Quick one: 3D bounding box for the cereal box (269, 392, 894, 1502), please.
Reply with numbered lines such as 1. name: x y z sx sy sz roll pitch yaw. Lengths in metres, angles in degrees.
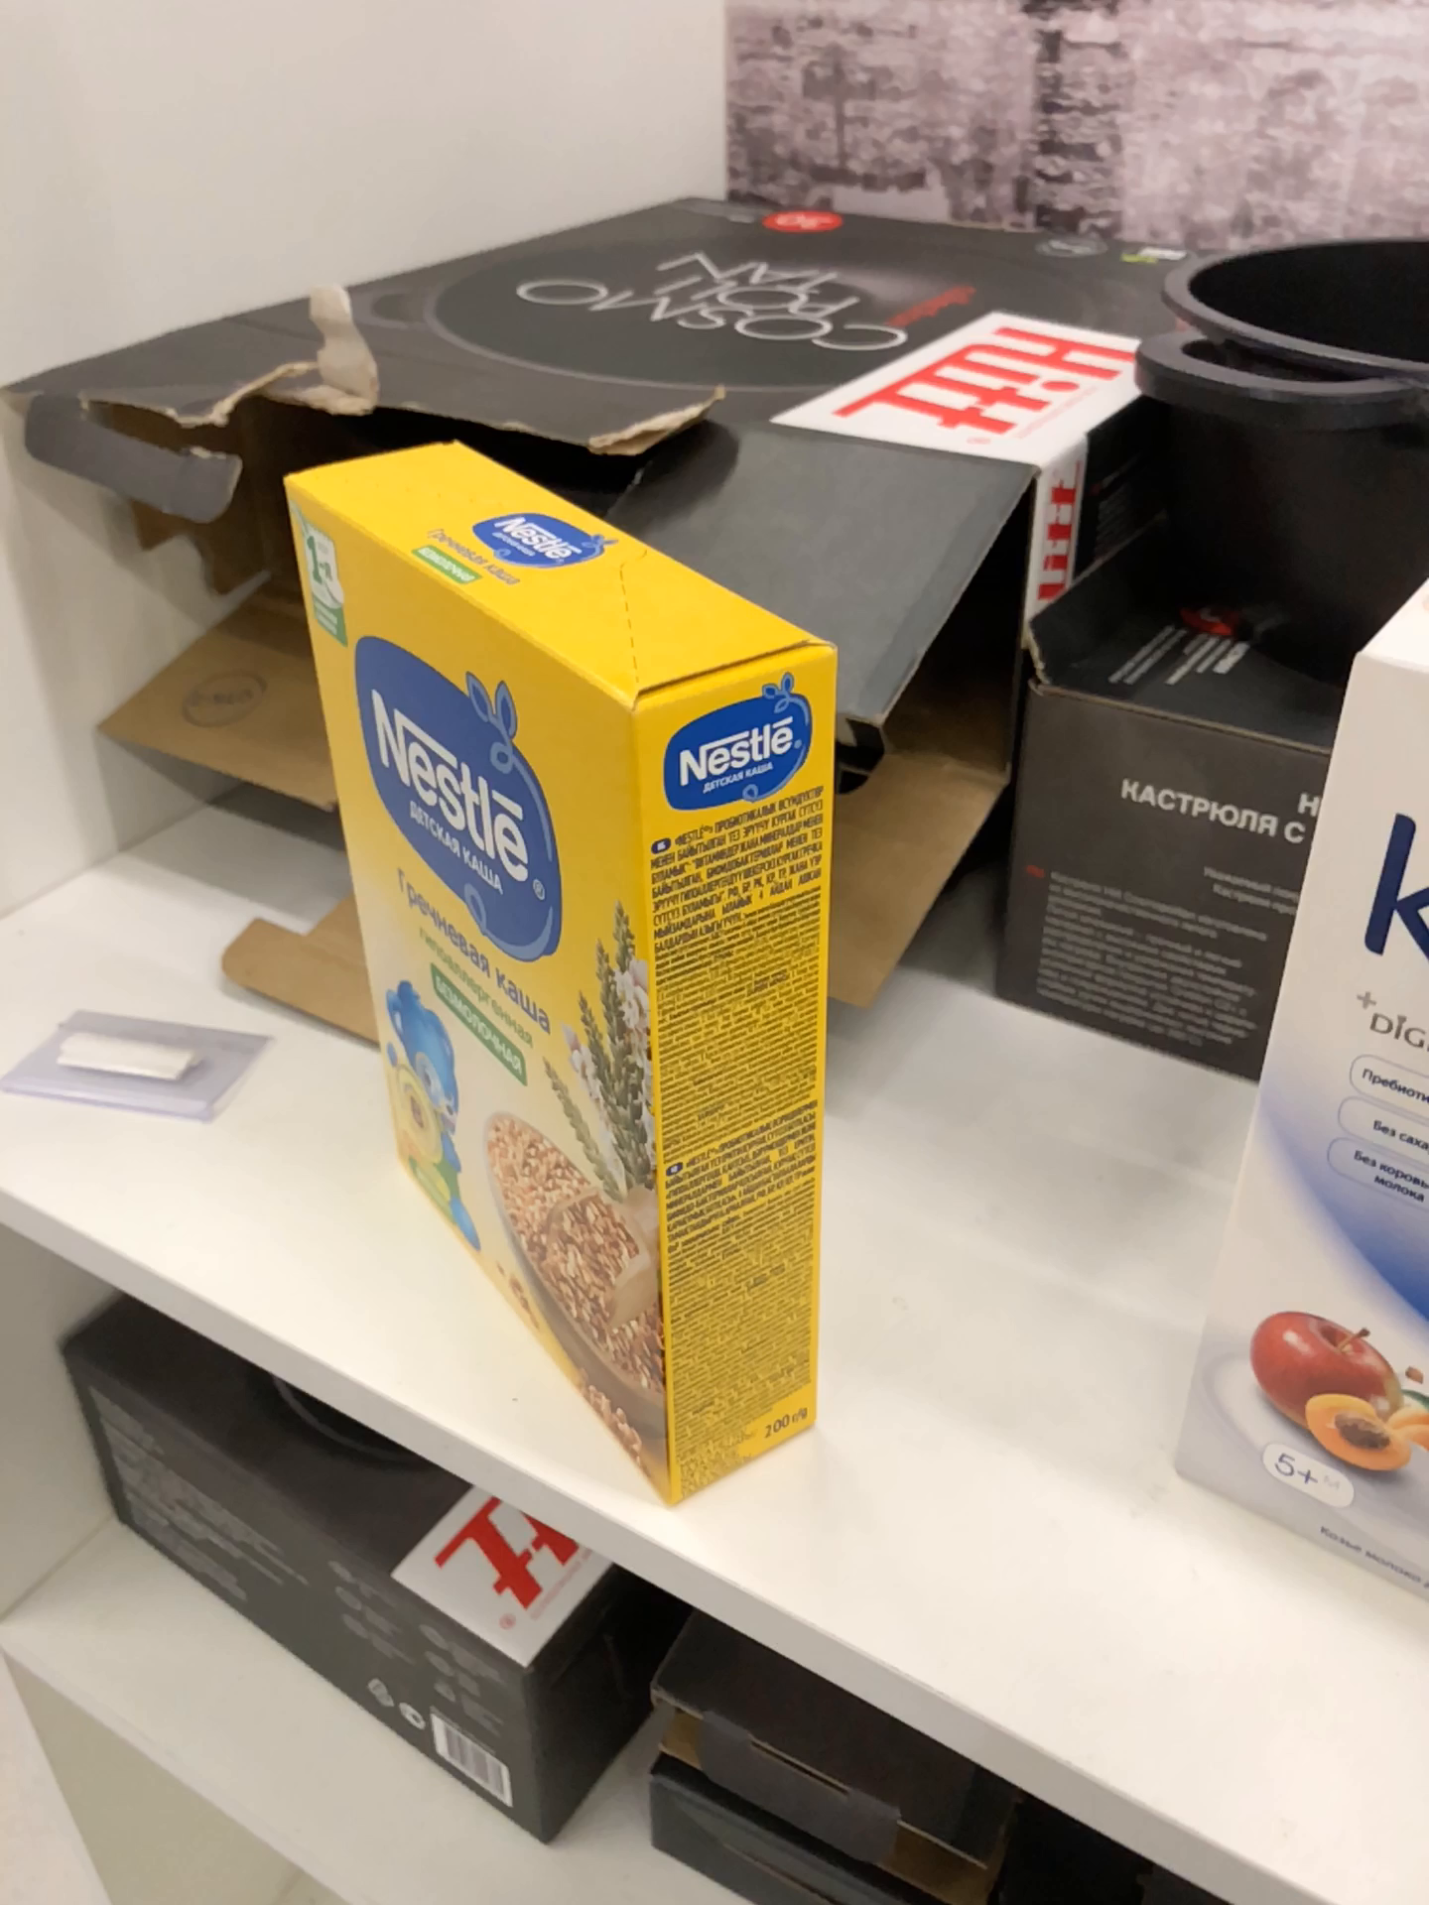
1. cereal box: -0.033 -0.004 0.357 0.050 0.199 0.151 -21 39 -28
